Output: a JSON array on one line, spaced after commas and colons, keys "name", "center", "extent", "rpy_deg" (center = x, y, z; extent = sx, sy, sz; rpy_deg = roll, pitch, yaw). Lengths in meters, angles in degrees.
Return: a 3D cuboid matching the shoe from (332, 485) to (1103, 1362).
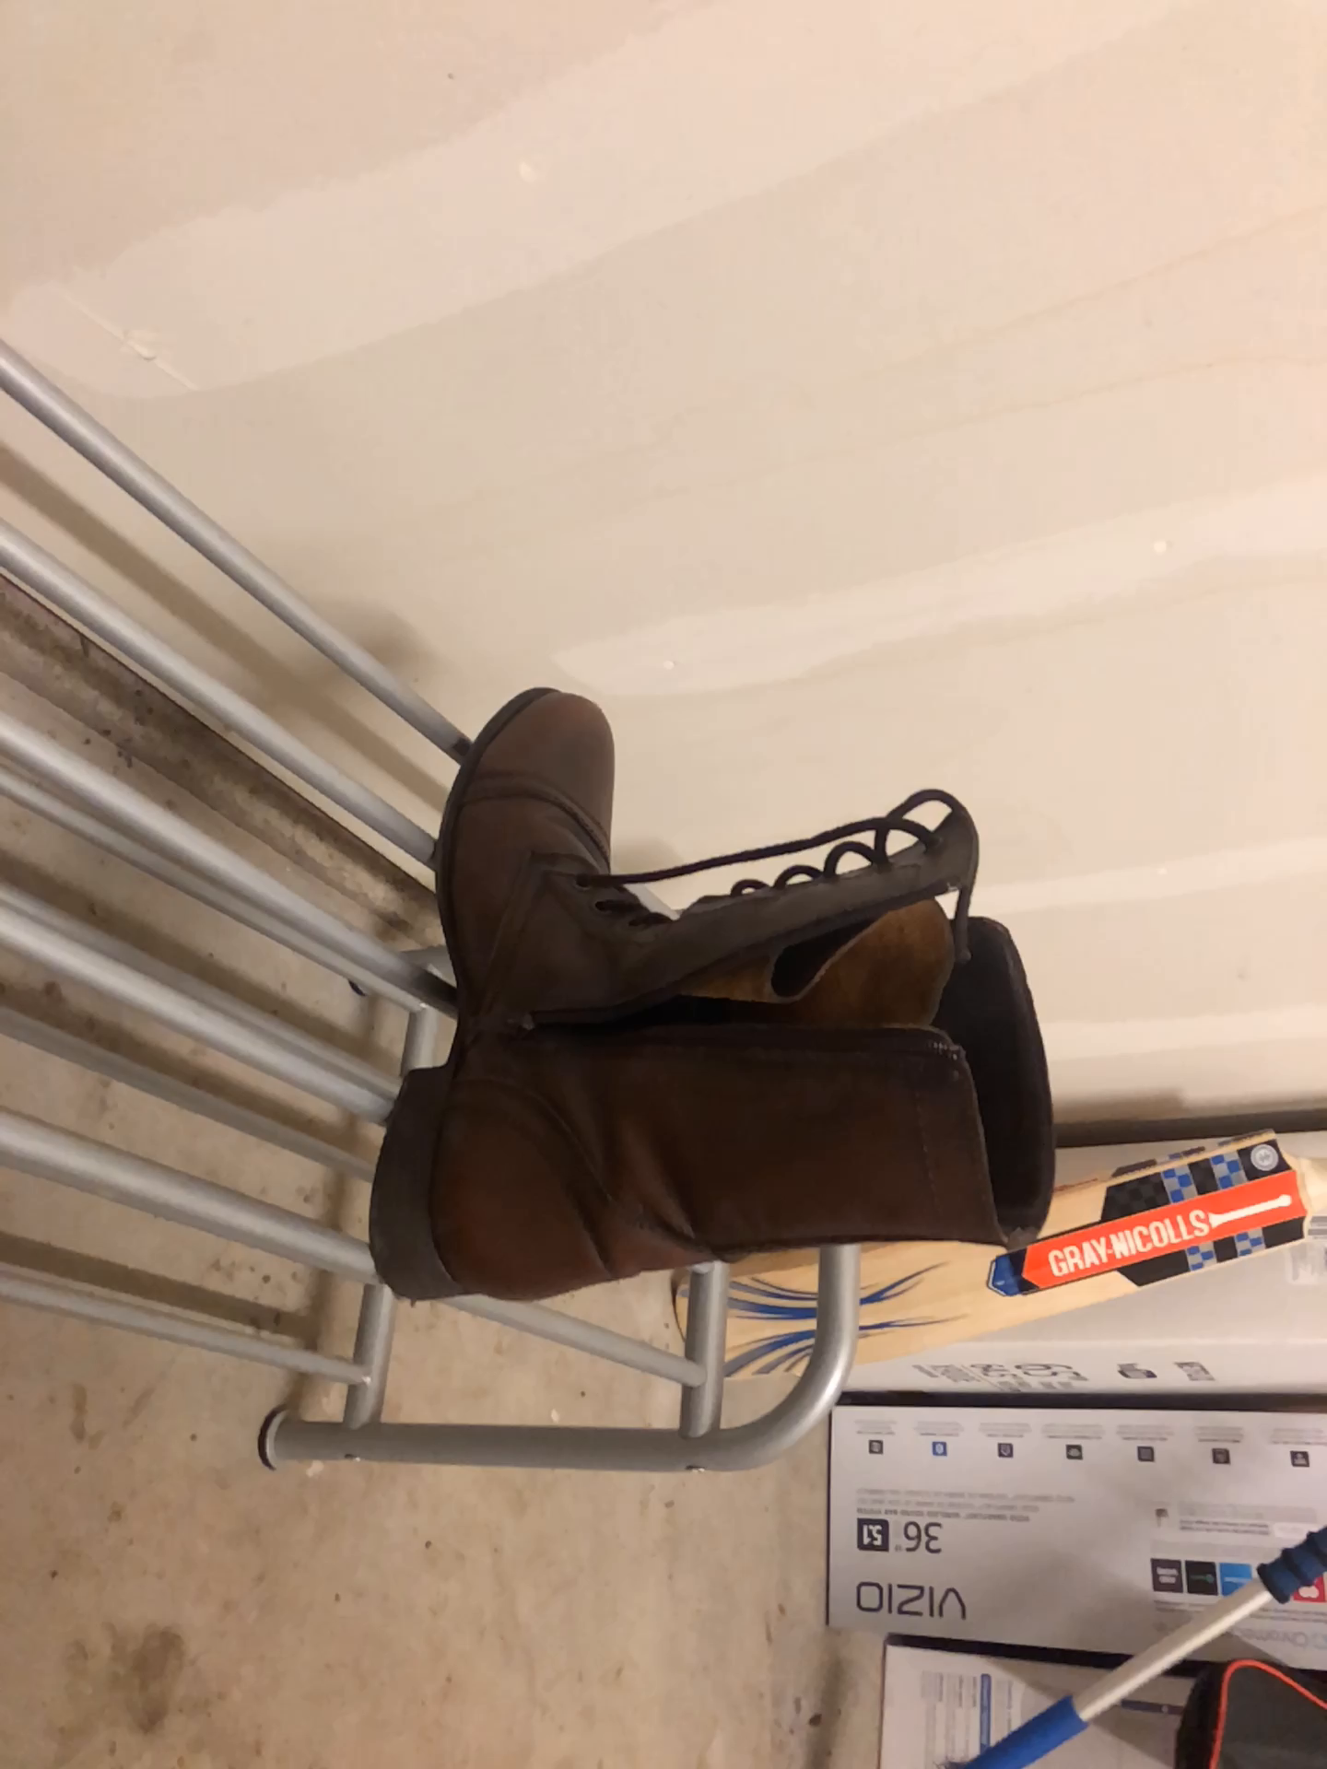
[{"name": "shoe", "center": [0.031, 0.025, 0.576], "extent": [0.122, 0.237, 0.287], "rpy_deg": [42, 46, -45]}]
